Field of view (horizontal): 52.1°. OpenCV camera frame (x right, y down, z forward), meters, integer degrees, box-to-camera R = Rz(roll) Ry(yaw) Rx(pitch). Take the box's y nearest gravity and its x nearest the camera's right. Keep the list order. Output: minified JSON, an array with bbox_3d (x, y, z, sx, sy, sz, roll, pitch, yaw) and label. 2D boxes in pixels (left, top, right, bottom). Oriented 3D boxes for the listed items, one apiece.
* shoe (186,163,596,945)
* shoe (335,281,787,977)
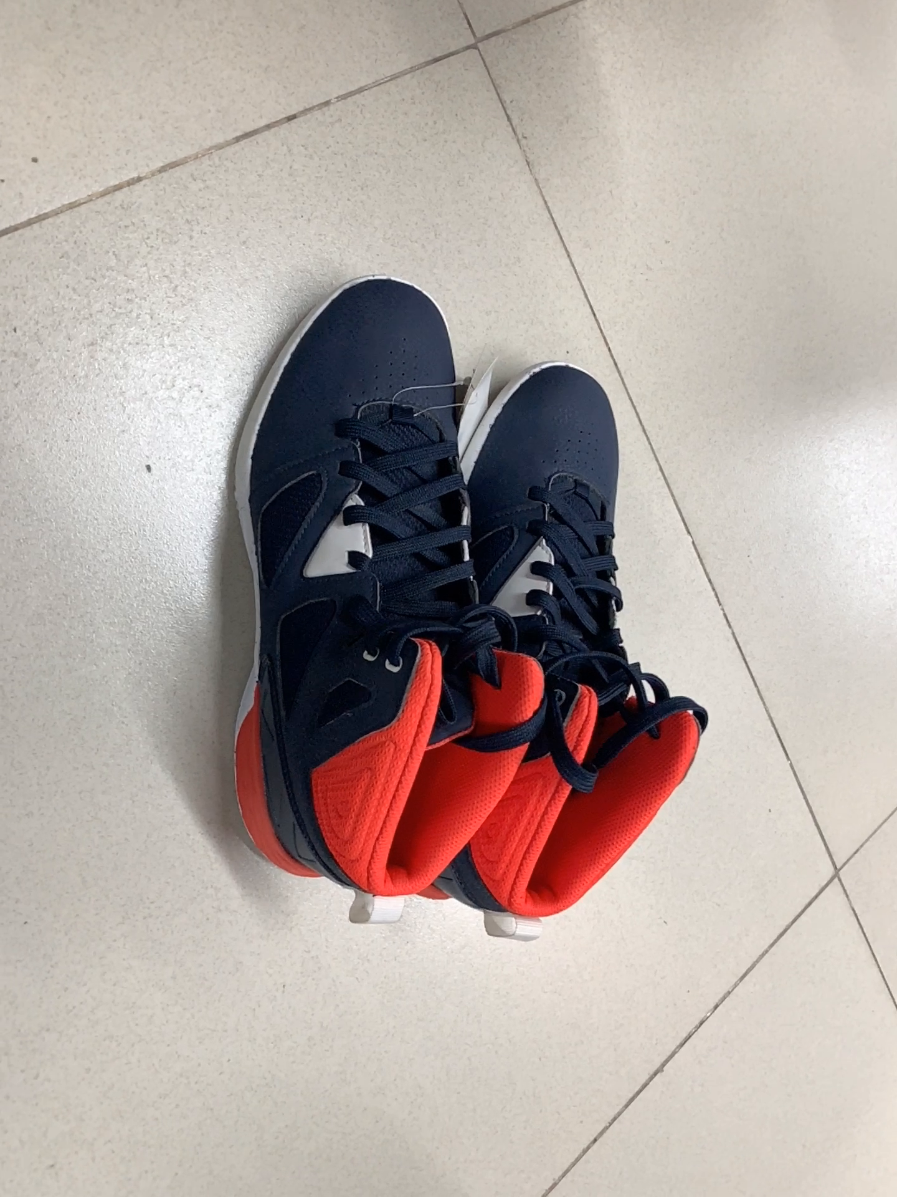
[{"bbox_3d":[-0.029,-0.012,0.406,0.110,0.100,0.290,9,88,-28],"label":"shoe"},{"bbox_3d":[0.053,0.016,0.459,0.110,0.120,0.290,17,84,-27],"label":"shoe"}]
